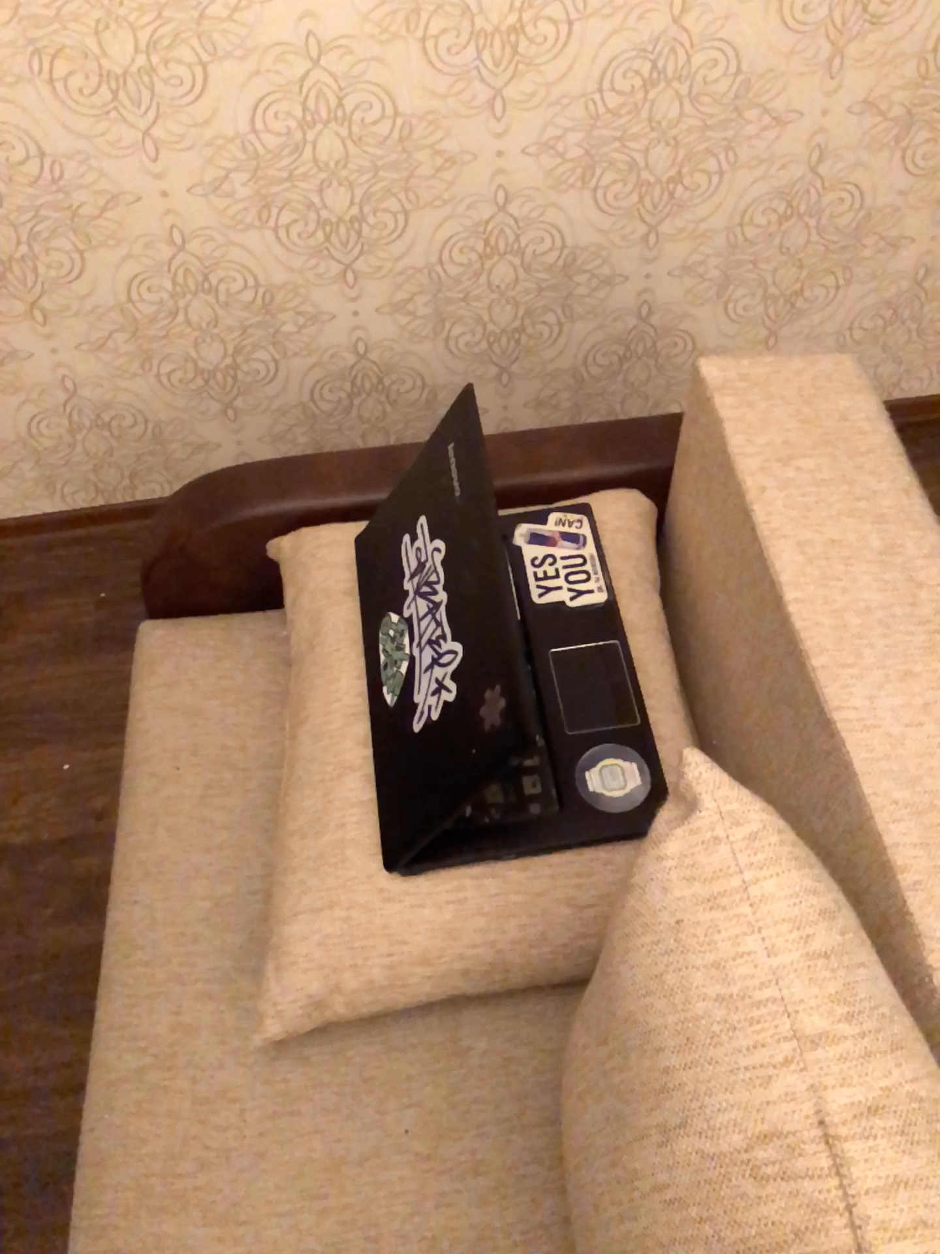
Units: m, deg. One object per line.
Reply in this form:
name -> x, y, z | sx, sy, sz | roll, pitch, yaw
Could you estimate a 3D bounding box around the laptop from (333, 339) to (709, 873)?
laptop -> 0.028, -0.027, 0.999 | 0.267, 0.223, 0.414 | -9, 55, 0
